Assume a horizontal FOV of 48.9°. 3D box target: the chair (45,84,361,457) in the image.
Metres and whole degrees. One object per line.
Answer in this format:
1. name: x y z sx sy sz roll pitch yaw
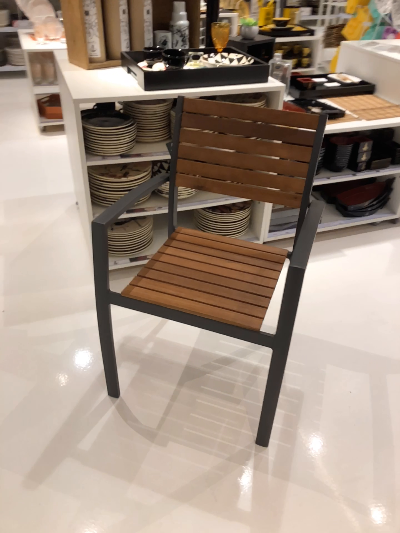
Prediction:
1. chair: 0.043 -0.014 1.249 0.590 0.783 0.534 13 37 15
